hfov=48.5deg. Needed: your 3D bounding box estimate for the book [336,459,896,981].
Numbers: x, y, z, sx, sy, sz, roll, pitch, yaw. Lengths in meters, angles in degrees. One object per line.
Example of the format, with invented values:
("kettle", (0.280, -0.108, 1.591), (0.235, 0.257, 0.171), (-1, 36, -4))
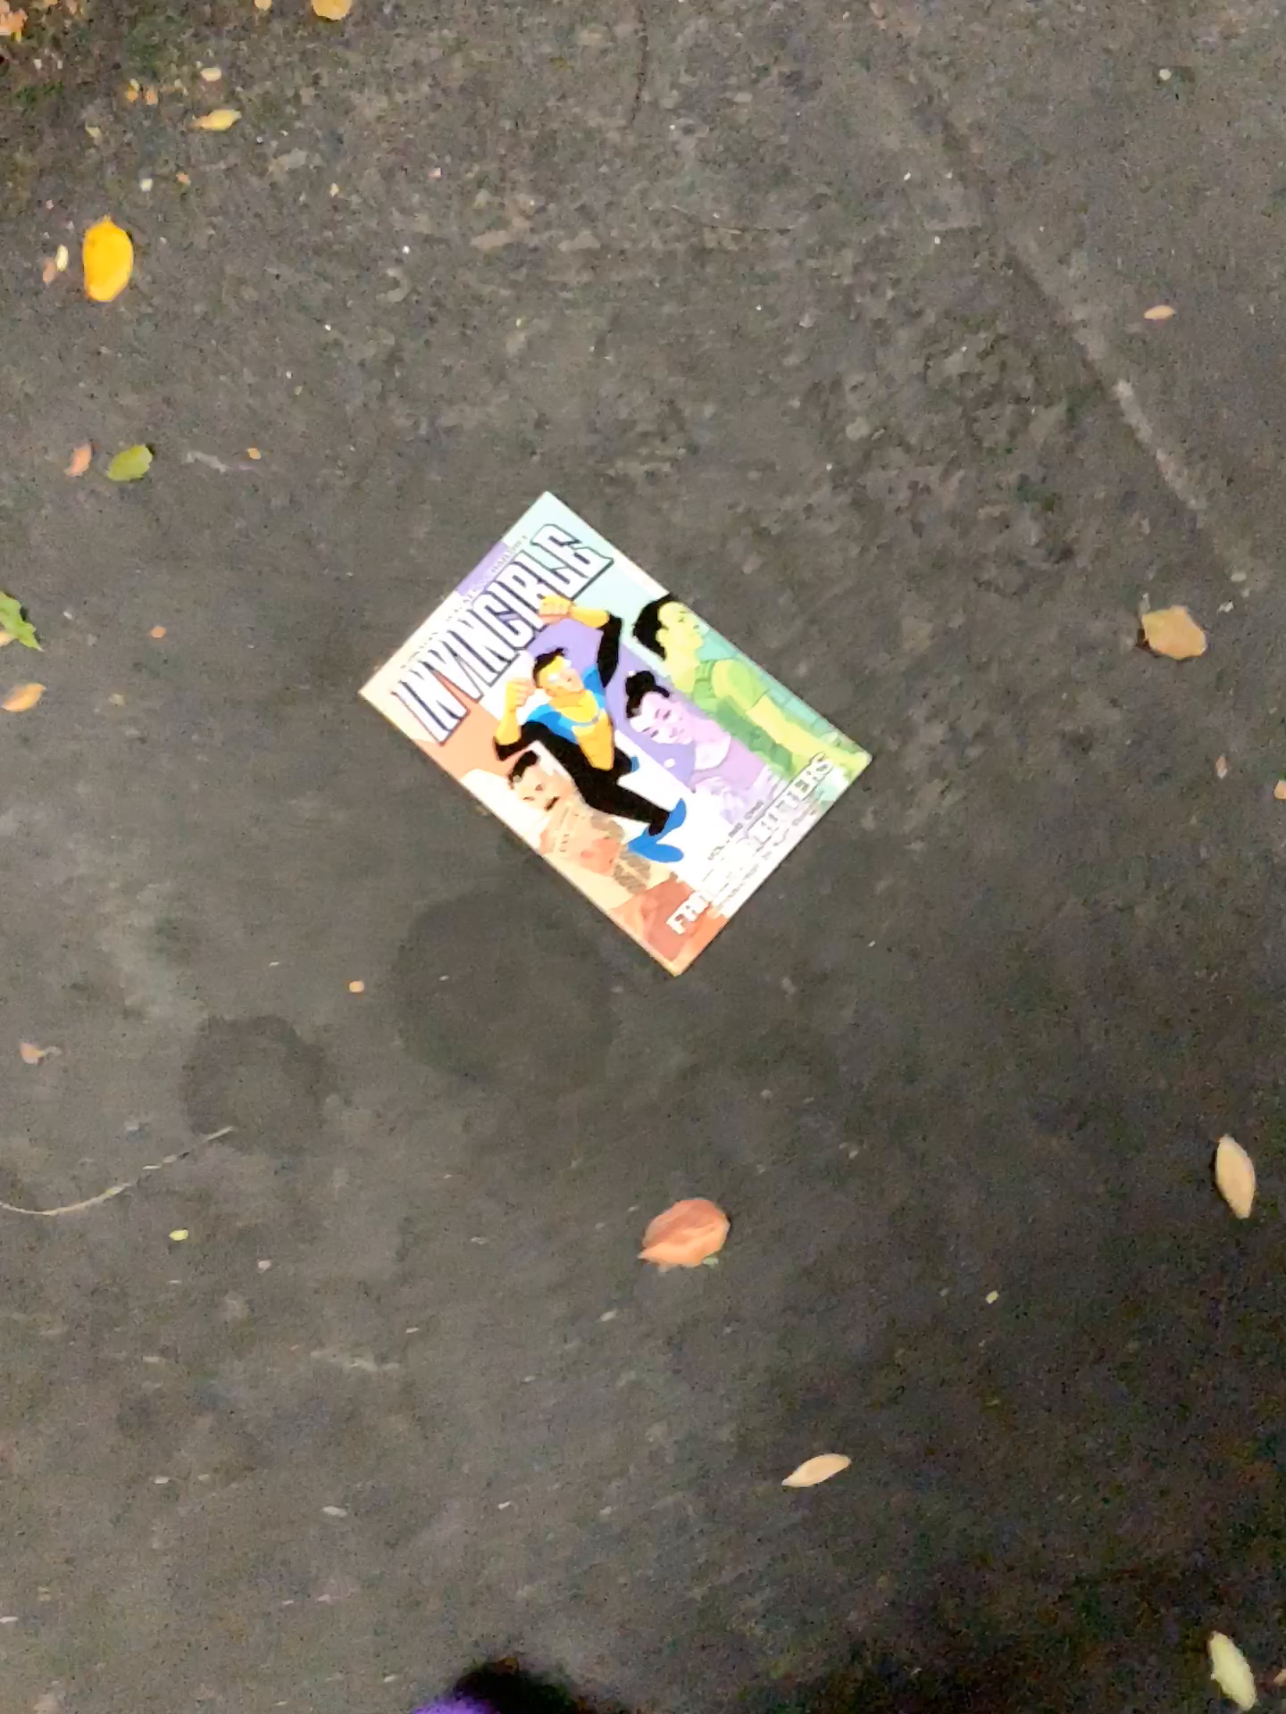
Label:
("book", (-0.019, -0.085, 0.820), (0.270, 0.020, 0.180), (40, 84, 14))
